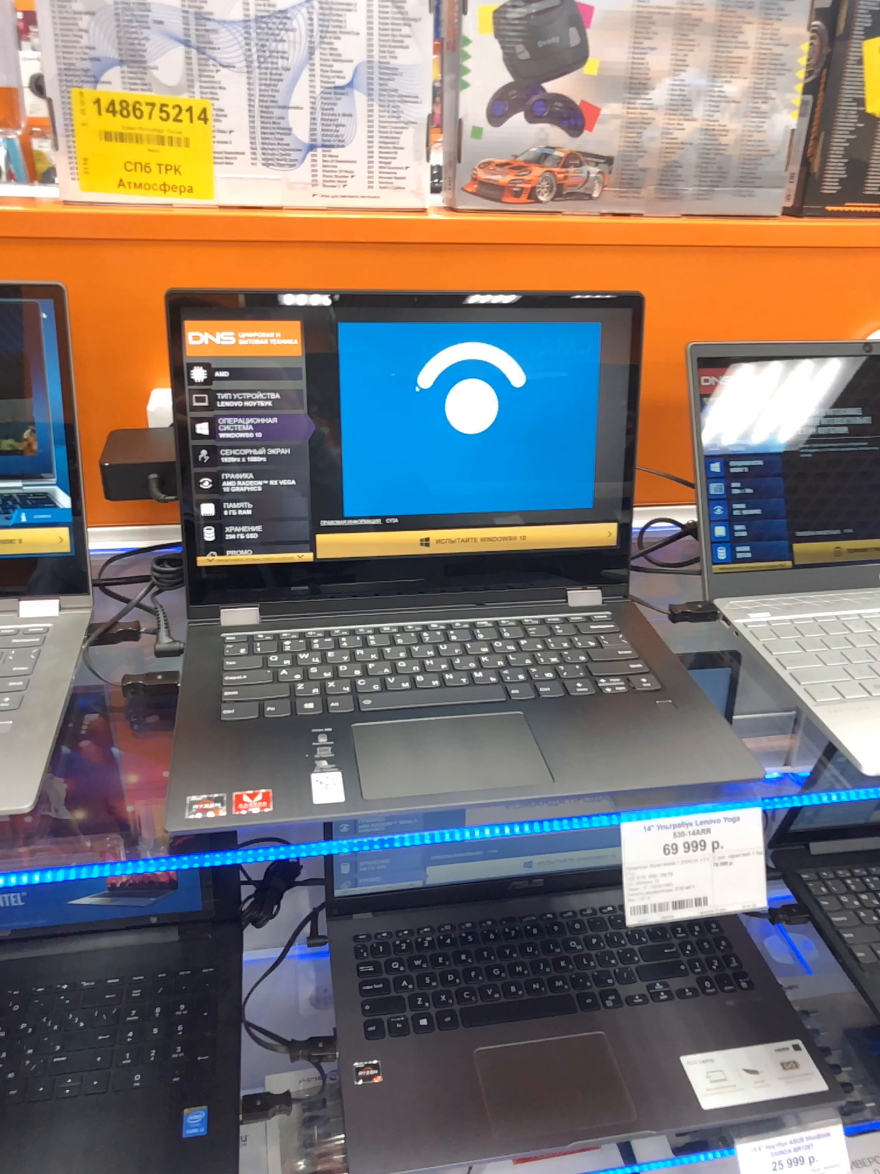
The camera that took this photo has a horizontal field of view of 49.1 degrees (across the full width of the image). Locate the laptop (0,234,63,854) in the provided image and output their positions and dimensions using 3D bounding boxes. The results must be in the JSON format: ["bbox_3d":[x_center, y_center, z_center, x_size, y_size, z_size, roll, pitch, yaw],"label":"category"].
[{"bbox_3d":[-0.382,-0.047,0.530,0.284,0.202,0.287,-2,29,-16],"label":"laptop"}]

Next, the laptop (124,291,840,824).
[{"bbox_3d":[0.003,-0.042,0.578,0.320,0.215,0.256,-3,26,-11],"label":"laptop"}]

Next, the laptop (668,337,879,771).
[{"bbox_3d":[0.375,-0.053,0.679,0.315,0.161,0.311,-3,28,-10],"label":"laptop"}]
